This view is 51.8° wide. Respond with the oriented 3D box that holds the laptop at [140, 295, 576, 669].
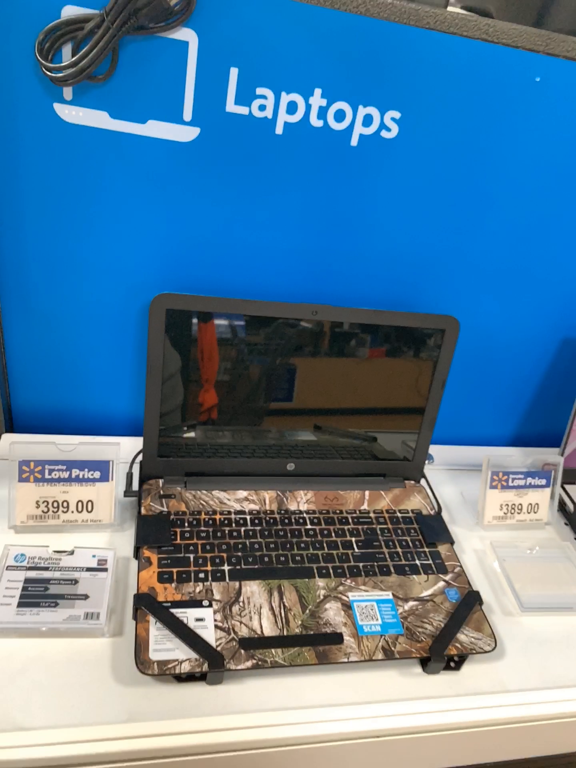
[{"bbox_3d":[0.037,0.092,0.642,0.374,0.227,0.304,3,35,-13],"label":"laptop"}]
